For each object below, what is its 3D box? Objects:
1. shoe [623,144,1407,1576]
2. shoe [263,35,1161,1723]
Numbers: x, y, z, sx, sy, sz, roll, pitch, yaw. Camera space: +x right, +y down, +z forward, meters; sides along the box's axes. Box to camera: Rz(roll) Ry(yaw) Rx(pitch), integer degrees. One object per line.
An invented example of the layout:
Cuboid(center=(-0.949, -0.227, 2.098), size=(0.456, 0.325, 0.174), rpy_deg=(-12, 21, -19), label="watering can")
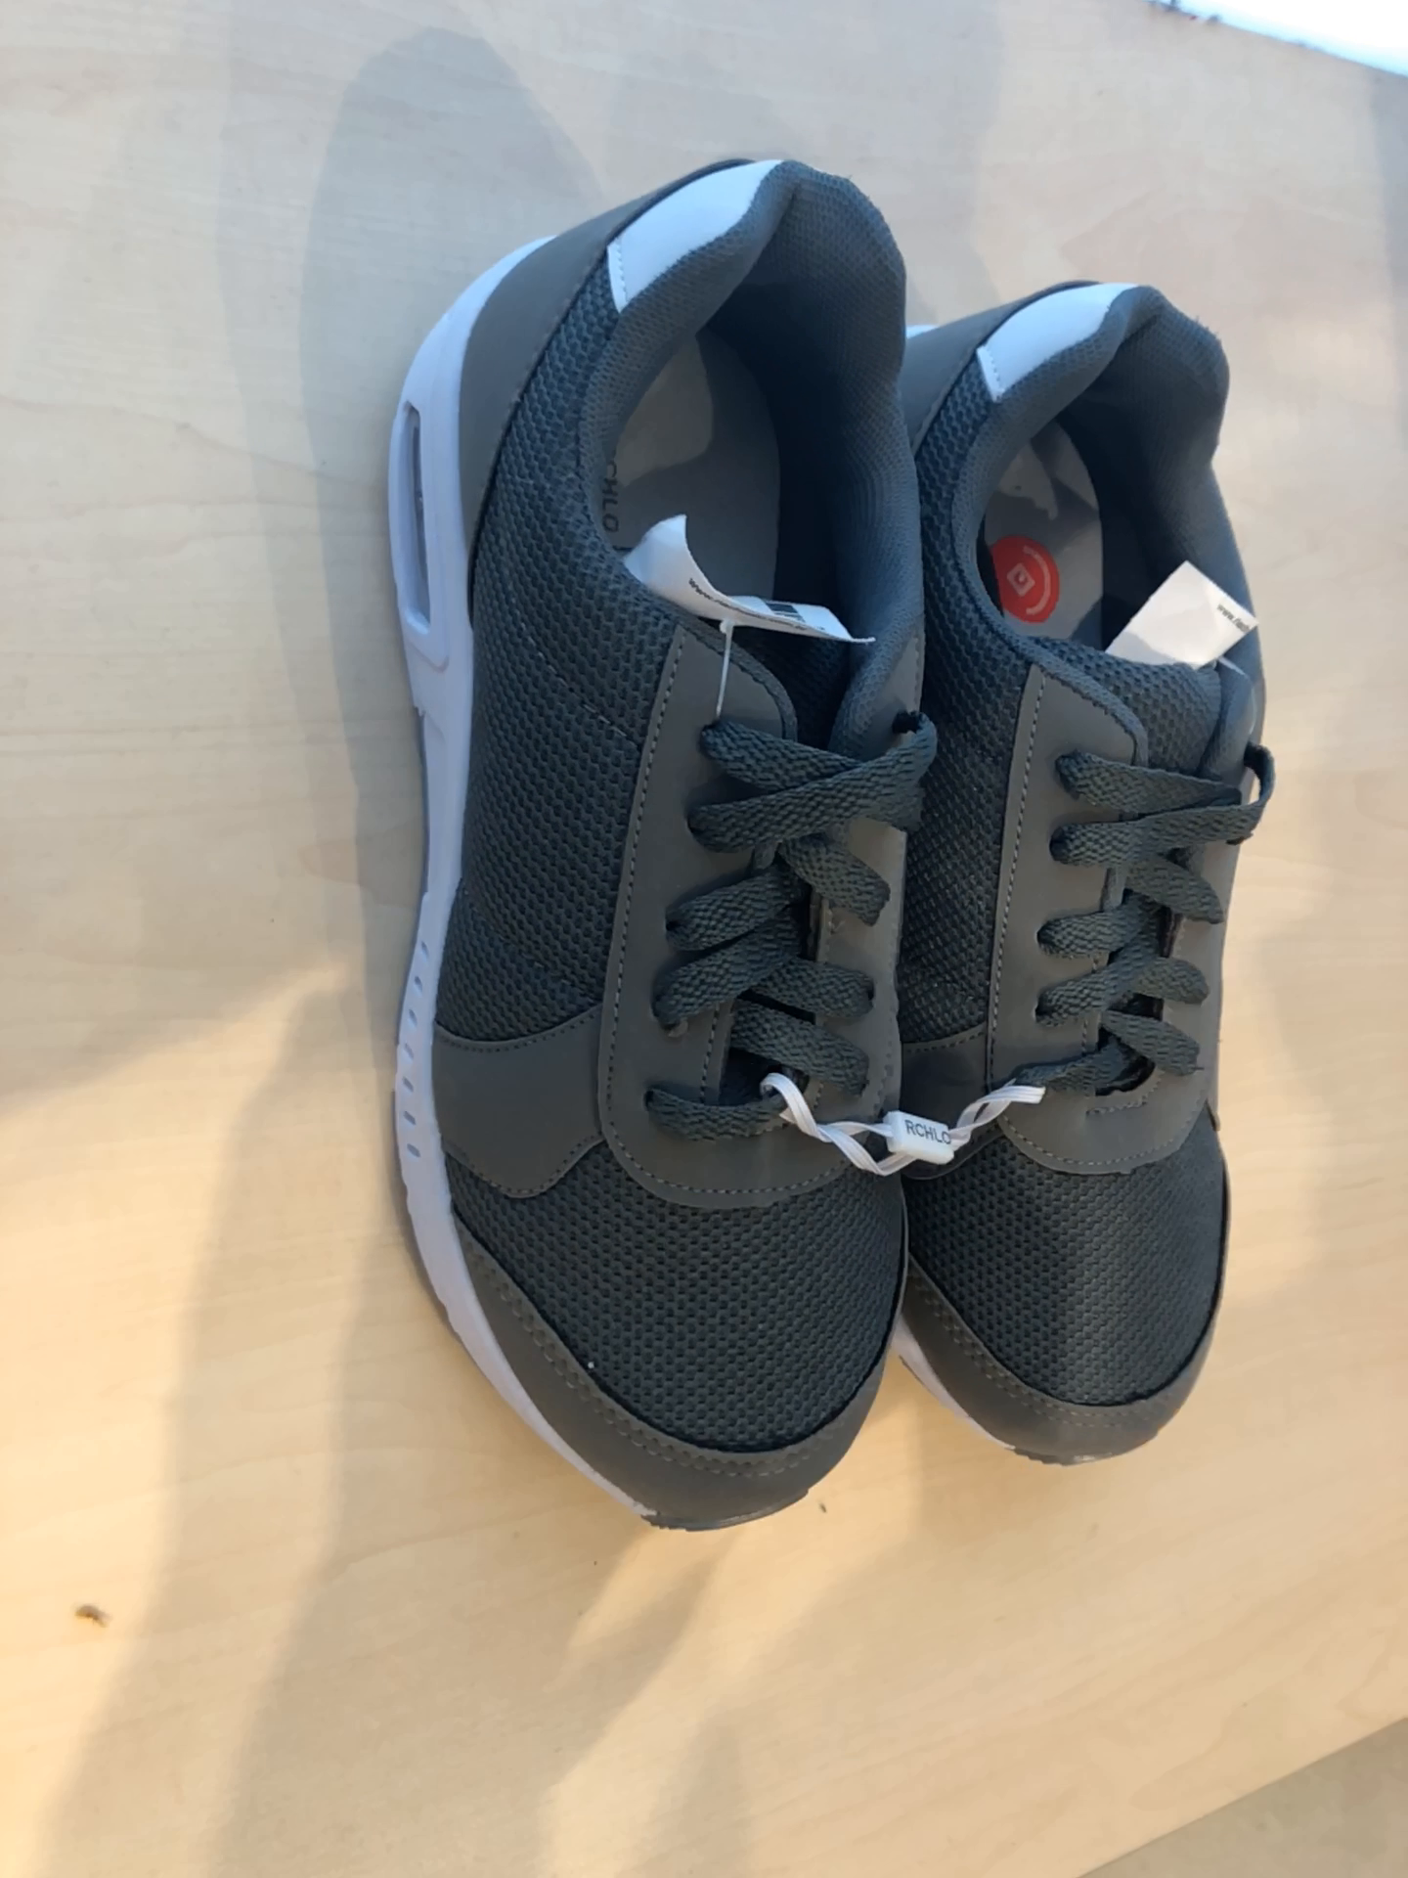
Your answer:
Cuboid(center=(0.067, -0.016, 0.328), size=(0.100, 0.100, 0.240), rpy_deg=(-8, 90, -29), label="shoe")
Cuboid(center=(-0.005, -0.010, 0.280), size=(0.100, 0.100, 0.230), rpy_deg=(-6, 89, -29), label="shoe")
